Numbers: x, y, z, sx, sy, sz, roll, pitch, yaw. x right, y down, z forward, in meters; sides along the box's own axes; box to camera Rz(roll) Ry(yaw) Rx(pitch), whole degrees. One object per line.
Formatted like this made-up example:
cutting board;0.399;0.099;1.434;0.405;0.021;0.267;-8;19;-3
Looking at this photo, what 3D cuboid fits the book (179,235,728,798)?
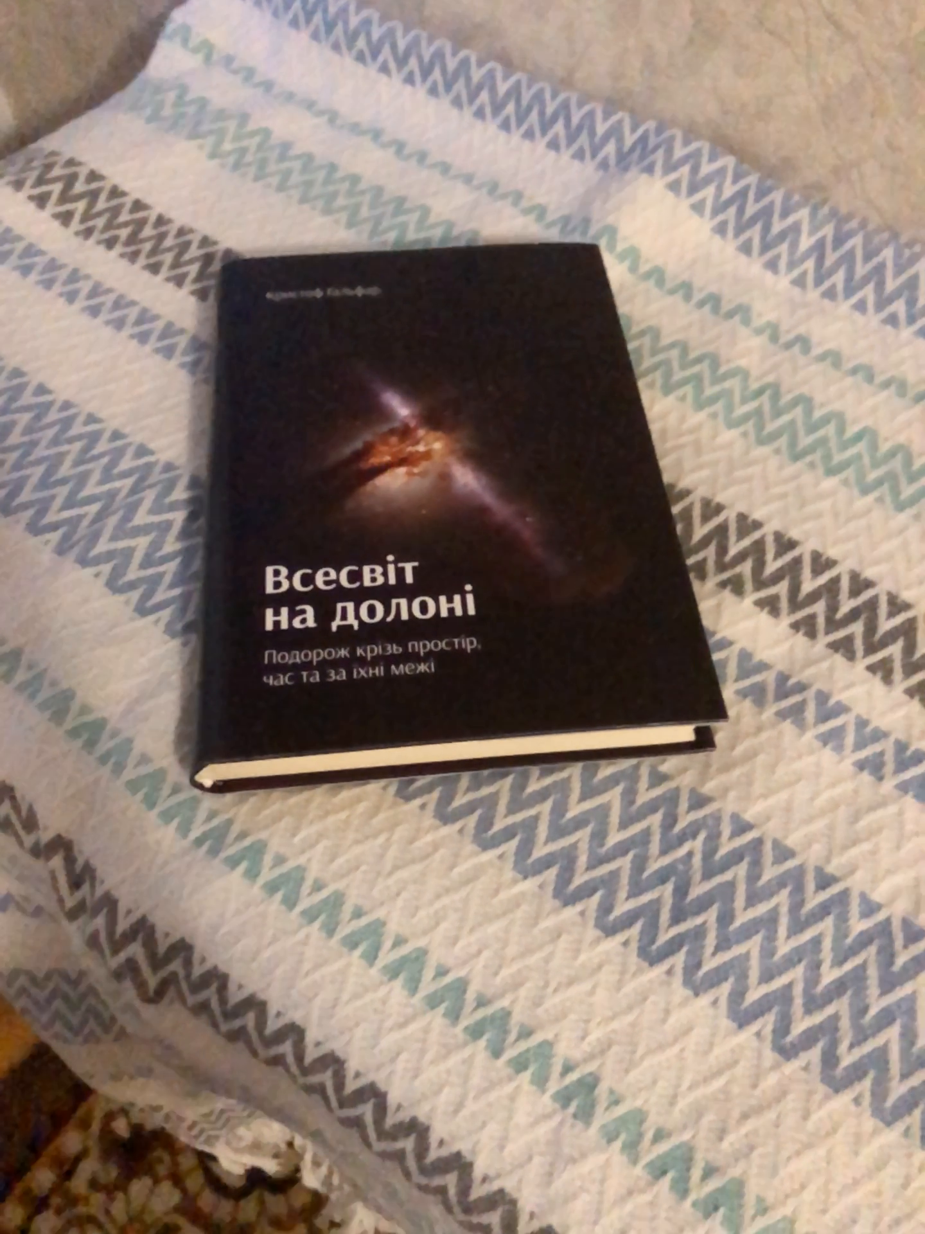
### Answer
book;-0.013;-0.052;0.373;0.161;0.030;0.226;-4;57;-5
